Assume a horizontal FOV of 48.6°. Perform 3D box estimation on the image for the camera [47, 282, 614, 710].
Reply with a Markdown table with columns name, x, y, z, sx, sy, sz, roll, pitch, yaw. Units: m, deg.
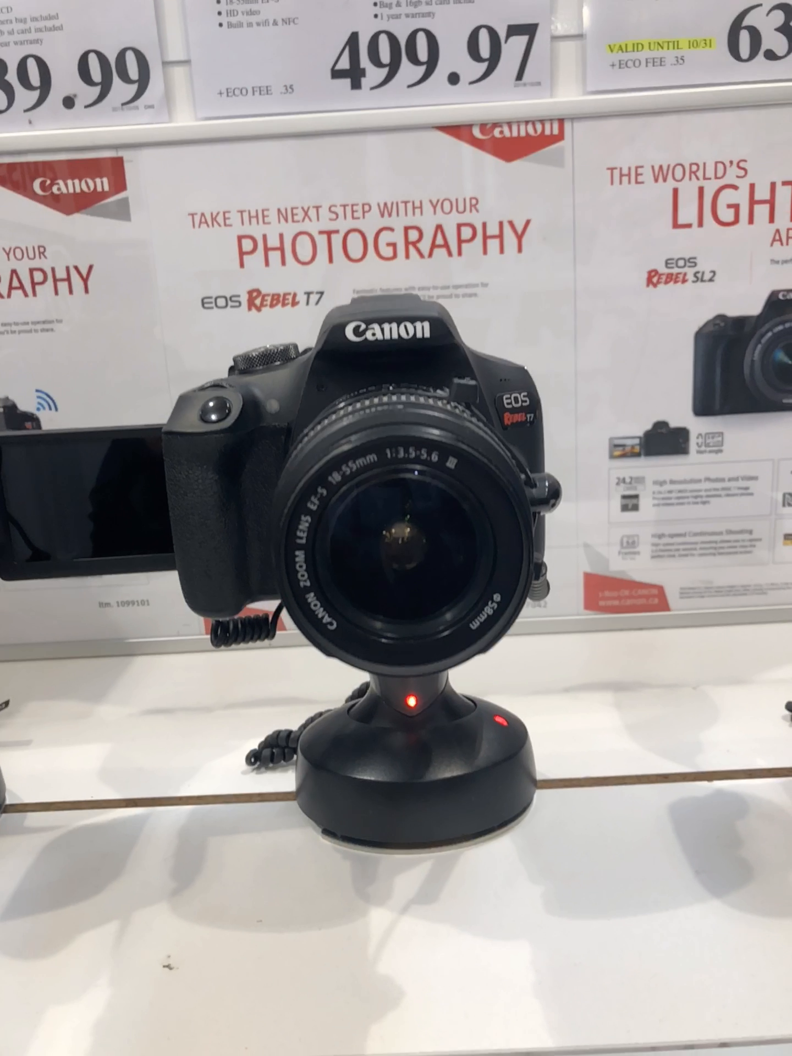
| name | x | y | z | sx | sy | sz | roll | pitch | yaw |
| --- | --- | --- | --- | --- | --- | --- | --- | --- | --- |
| camera | -0.011 | -0.022 | 0.280 | 0.130 | 0.100 | 0.141 | -3 | 15 | 3 |
